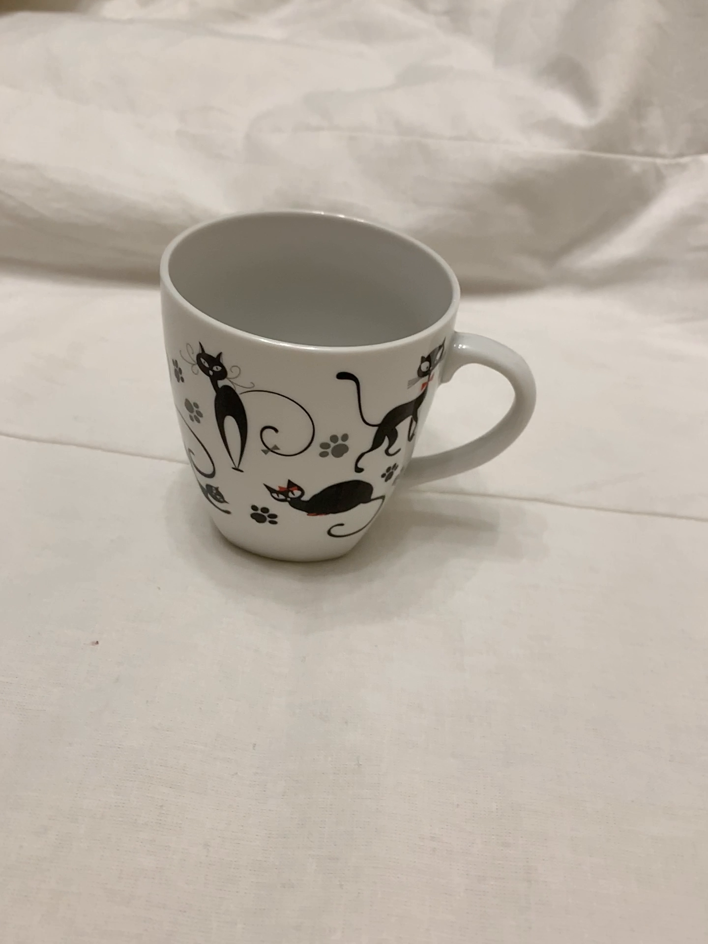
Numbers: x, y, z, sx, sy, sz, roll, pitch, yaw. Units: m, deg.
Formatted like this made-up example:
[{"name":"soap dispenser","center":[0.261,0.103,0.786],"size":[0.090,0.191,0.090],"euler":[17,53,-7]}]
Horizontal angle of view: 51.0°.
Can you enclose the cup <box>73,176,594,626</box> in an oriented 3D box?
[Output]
[{"name":"cup","center":[-0.001,-0.025,0.219],"size":[0.118,0.077,0.081],"euler":[13,43,9]}]
